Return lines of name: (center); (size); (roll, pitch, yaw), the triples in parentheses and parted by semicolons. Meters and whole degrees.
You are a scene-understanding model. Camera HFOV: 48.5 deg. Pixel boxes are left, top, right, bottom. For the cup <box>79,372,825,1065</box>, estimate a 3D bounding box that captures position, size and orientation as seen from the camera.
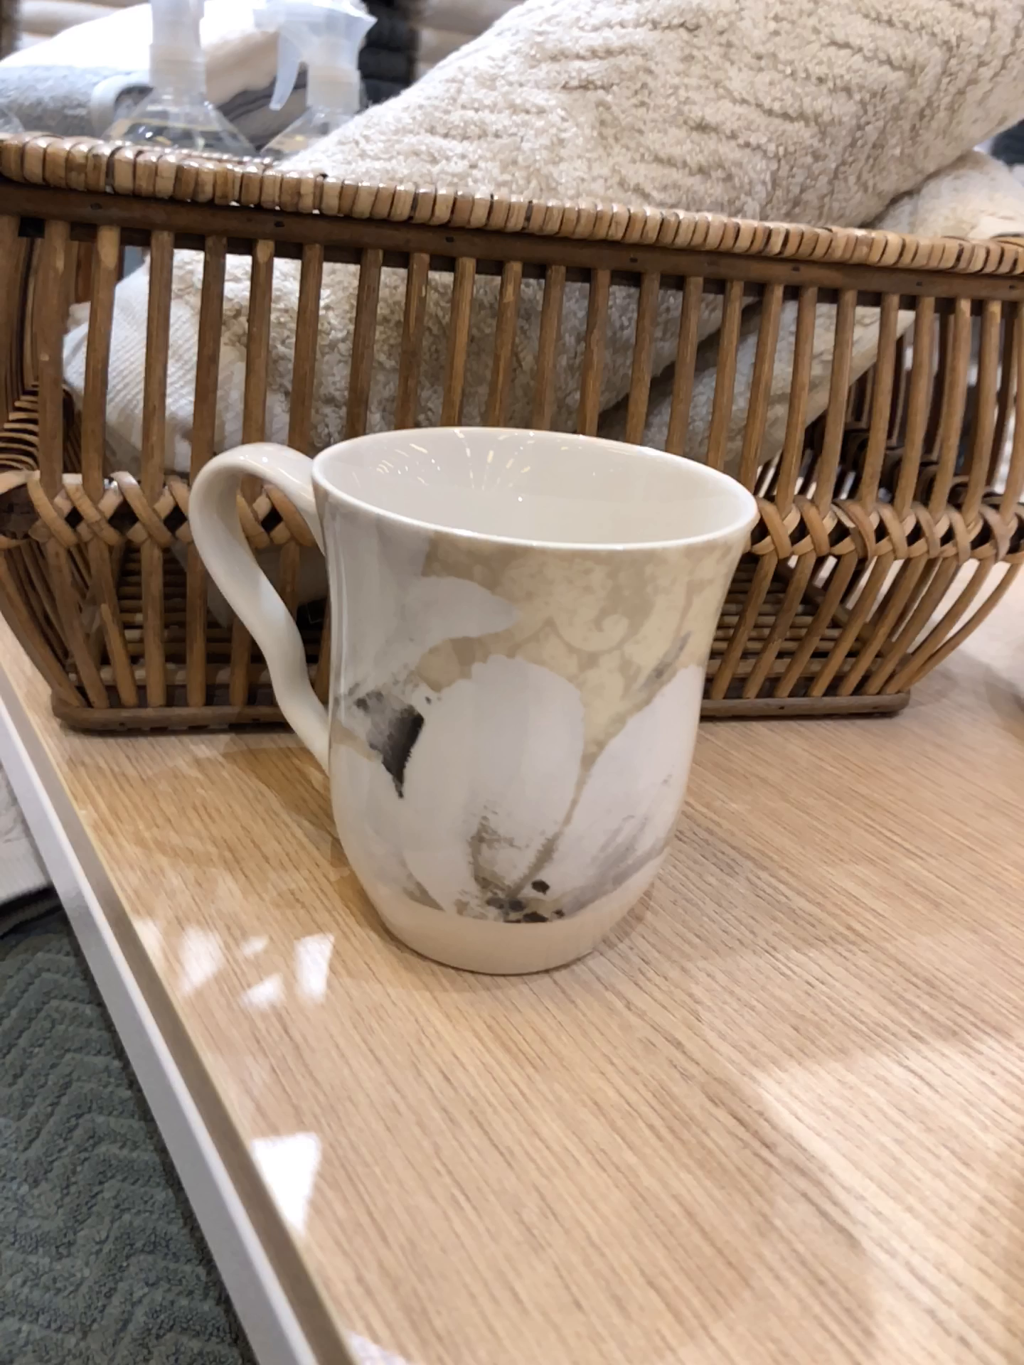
cup: (-0.015, -0.006, 0.261); (0.130, 0.099, 0.090); (19, 27, 27)
